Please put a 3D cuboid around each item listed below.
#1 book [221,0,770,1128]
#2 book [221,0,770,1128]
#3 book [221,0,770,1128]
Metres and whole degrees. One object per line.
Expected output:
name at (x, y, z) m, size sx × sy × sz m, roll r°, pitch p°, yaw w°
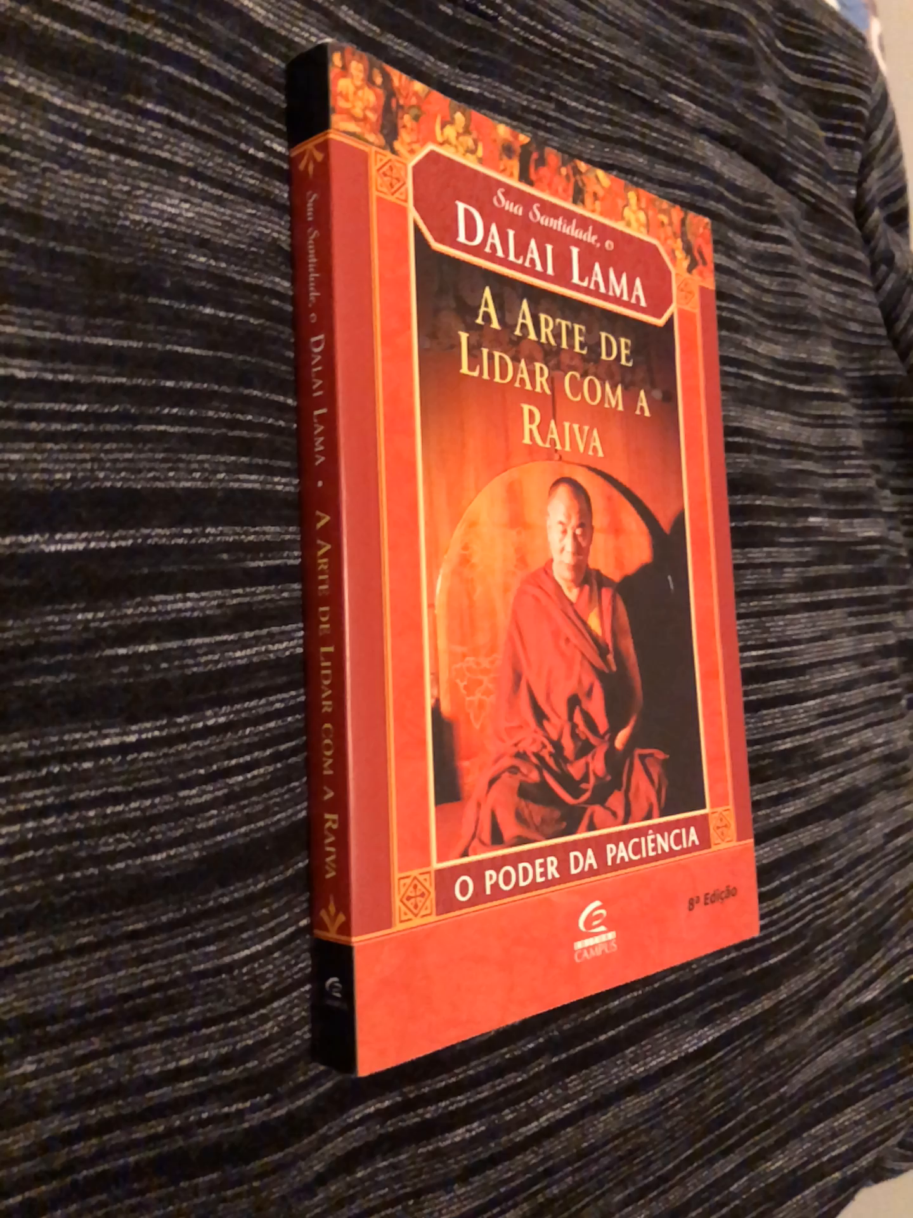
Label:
book at (0.019, -0.013, 0.255) m, size 0.151 × 0.030 × 0.220 m, roll 1°, pitch 84°, yaw -43°
book at (0.019, -0.013, 0.255) m, size 0.151 × 0.030 × 0.220 m, roll 1°, pitch 84°, yaw -43°
book at (0.019, -0.013, 0.255) m, size 0.151 × 0.030 × 0.220 m, roll 1°, pitch 84°, yaw -43°
